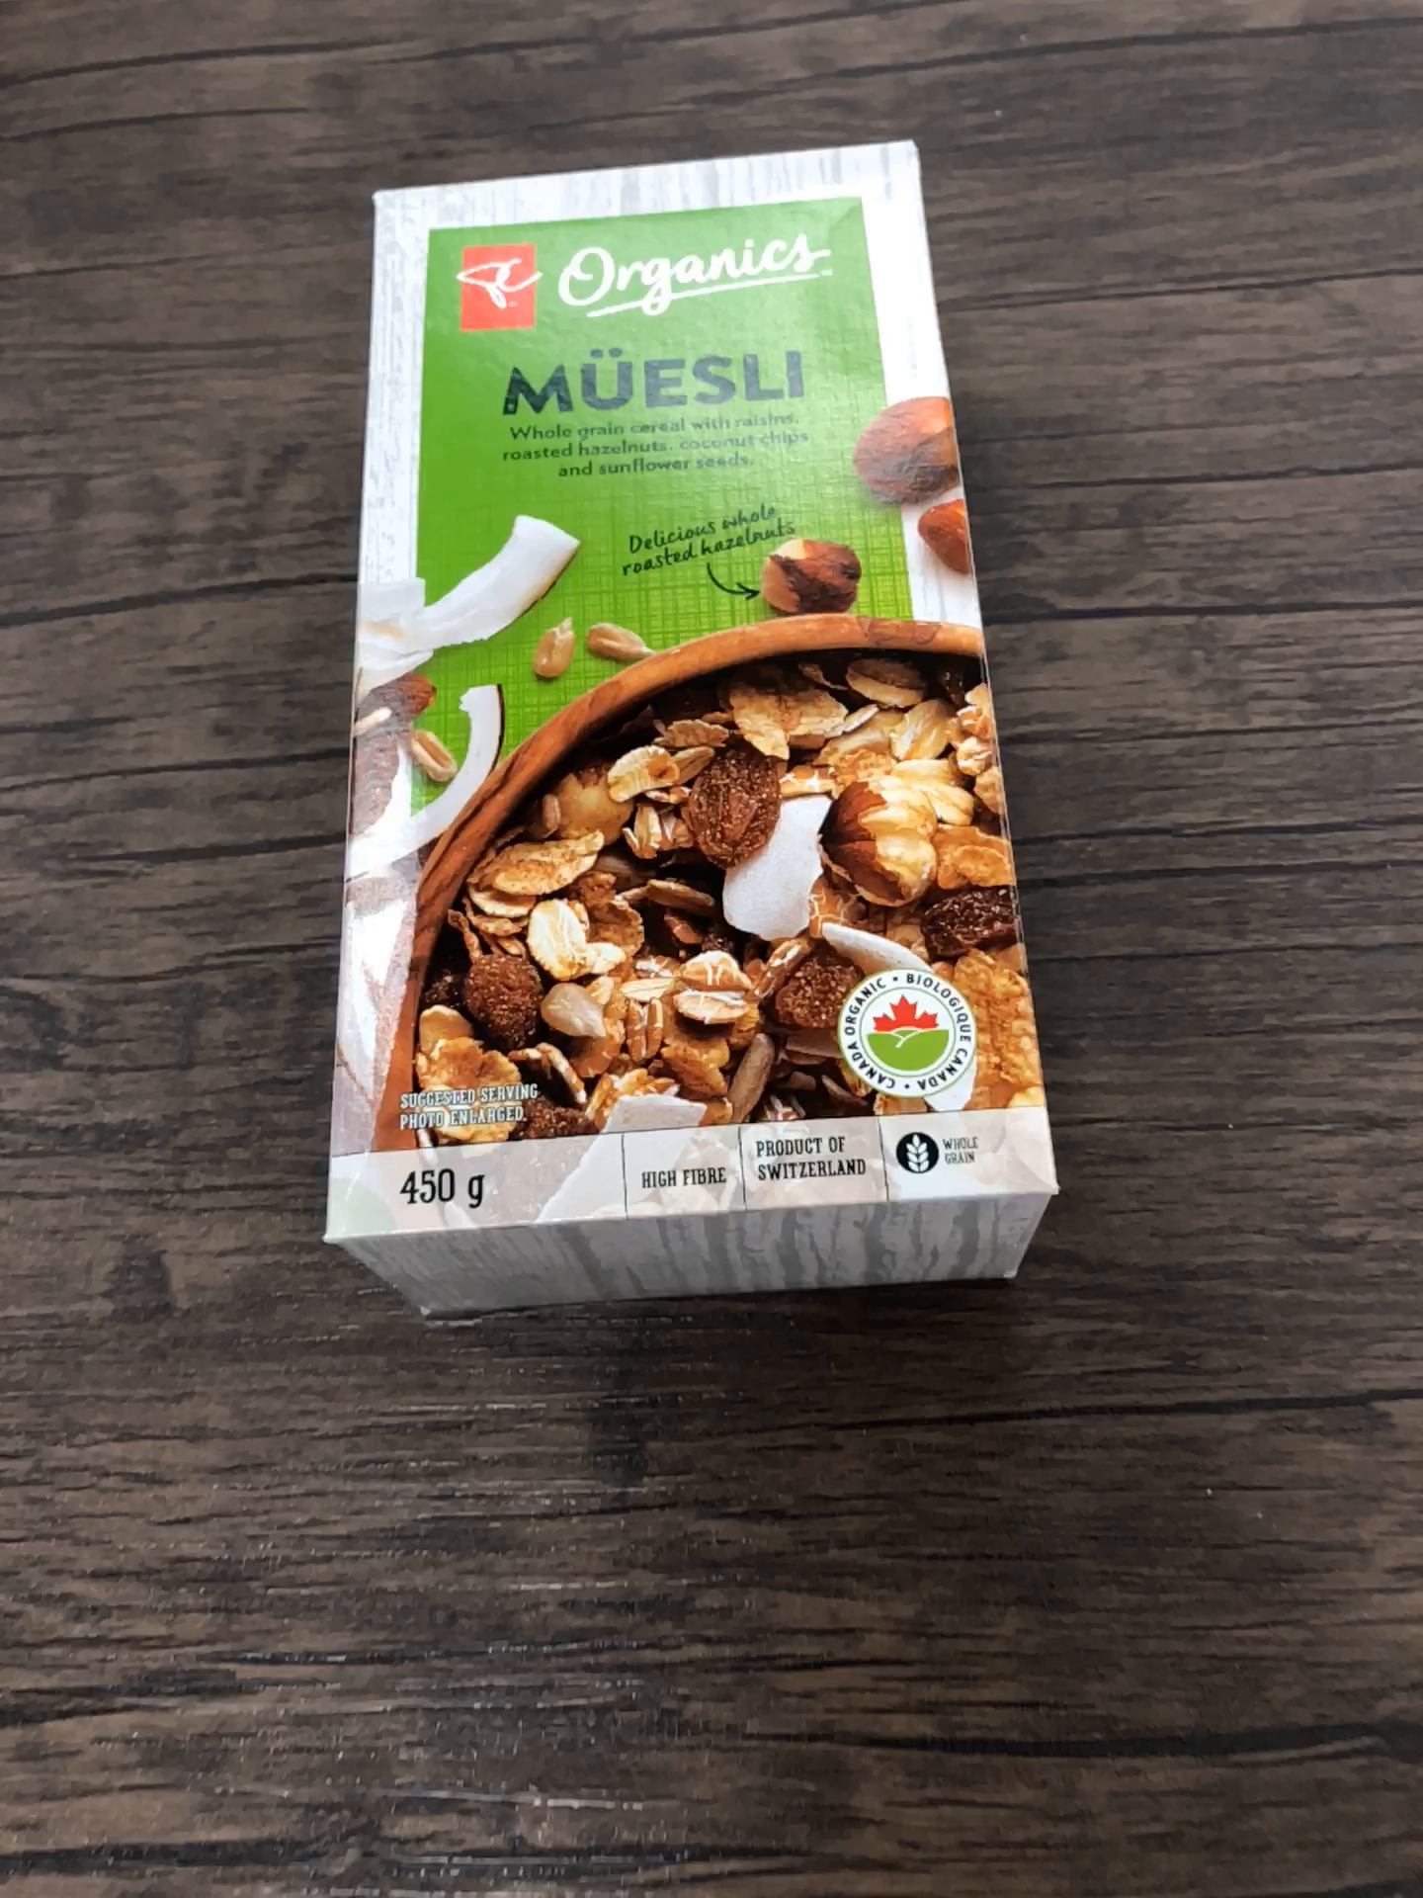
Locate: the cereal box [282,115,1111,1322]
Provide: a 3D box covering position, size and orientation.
[{"bbox_3d":[-0.006,-0.050,0.325,0.130,0.070,0.230,-4,68,3],"label":"cereal box"}]
